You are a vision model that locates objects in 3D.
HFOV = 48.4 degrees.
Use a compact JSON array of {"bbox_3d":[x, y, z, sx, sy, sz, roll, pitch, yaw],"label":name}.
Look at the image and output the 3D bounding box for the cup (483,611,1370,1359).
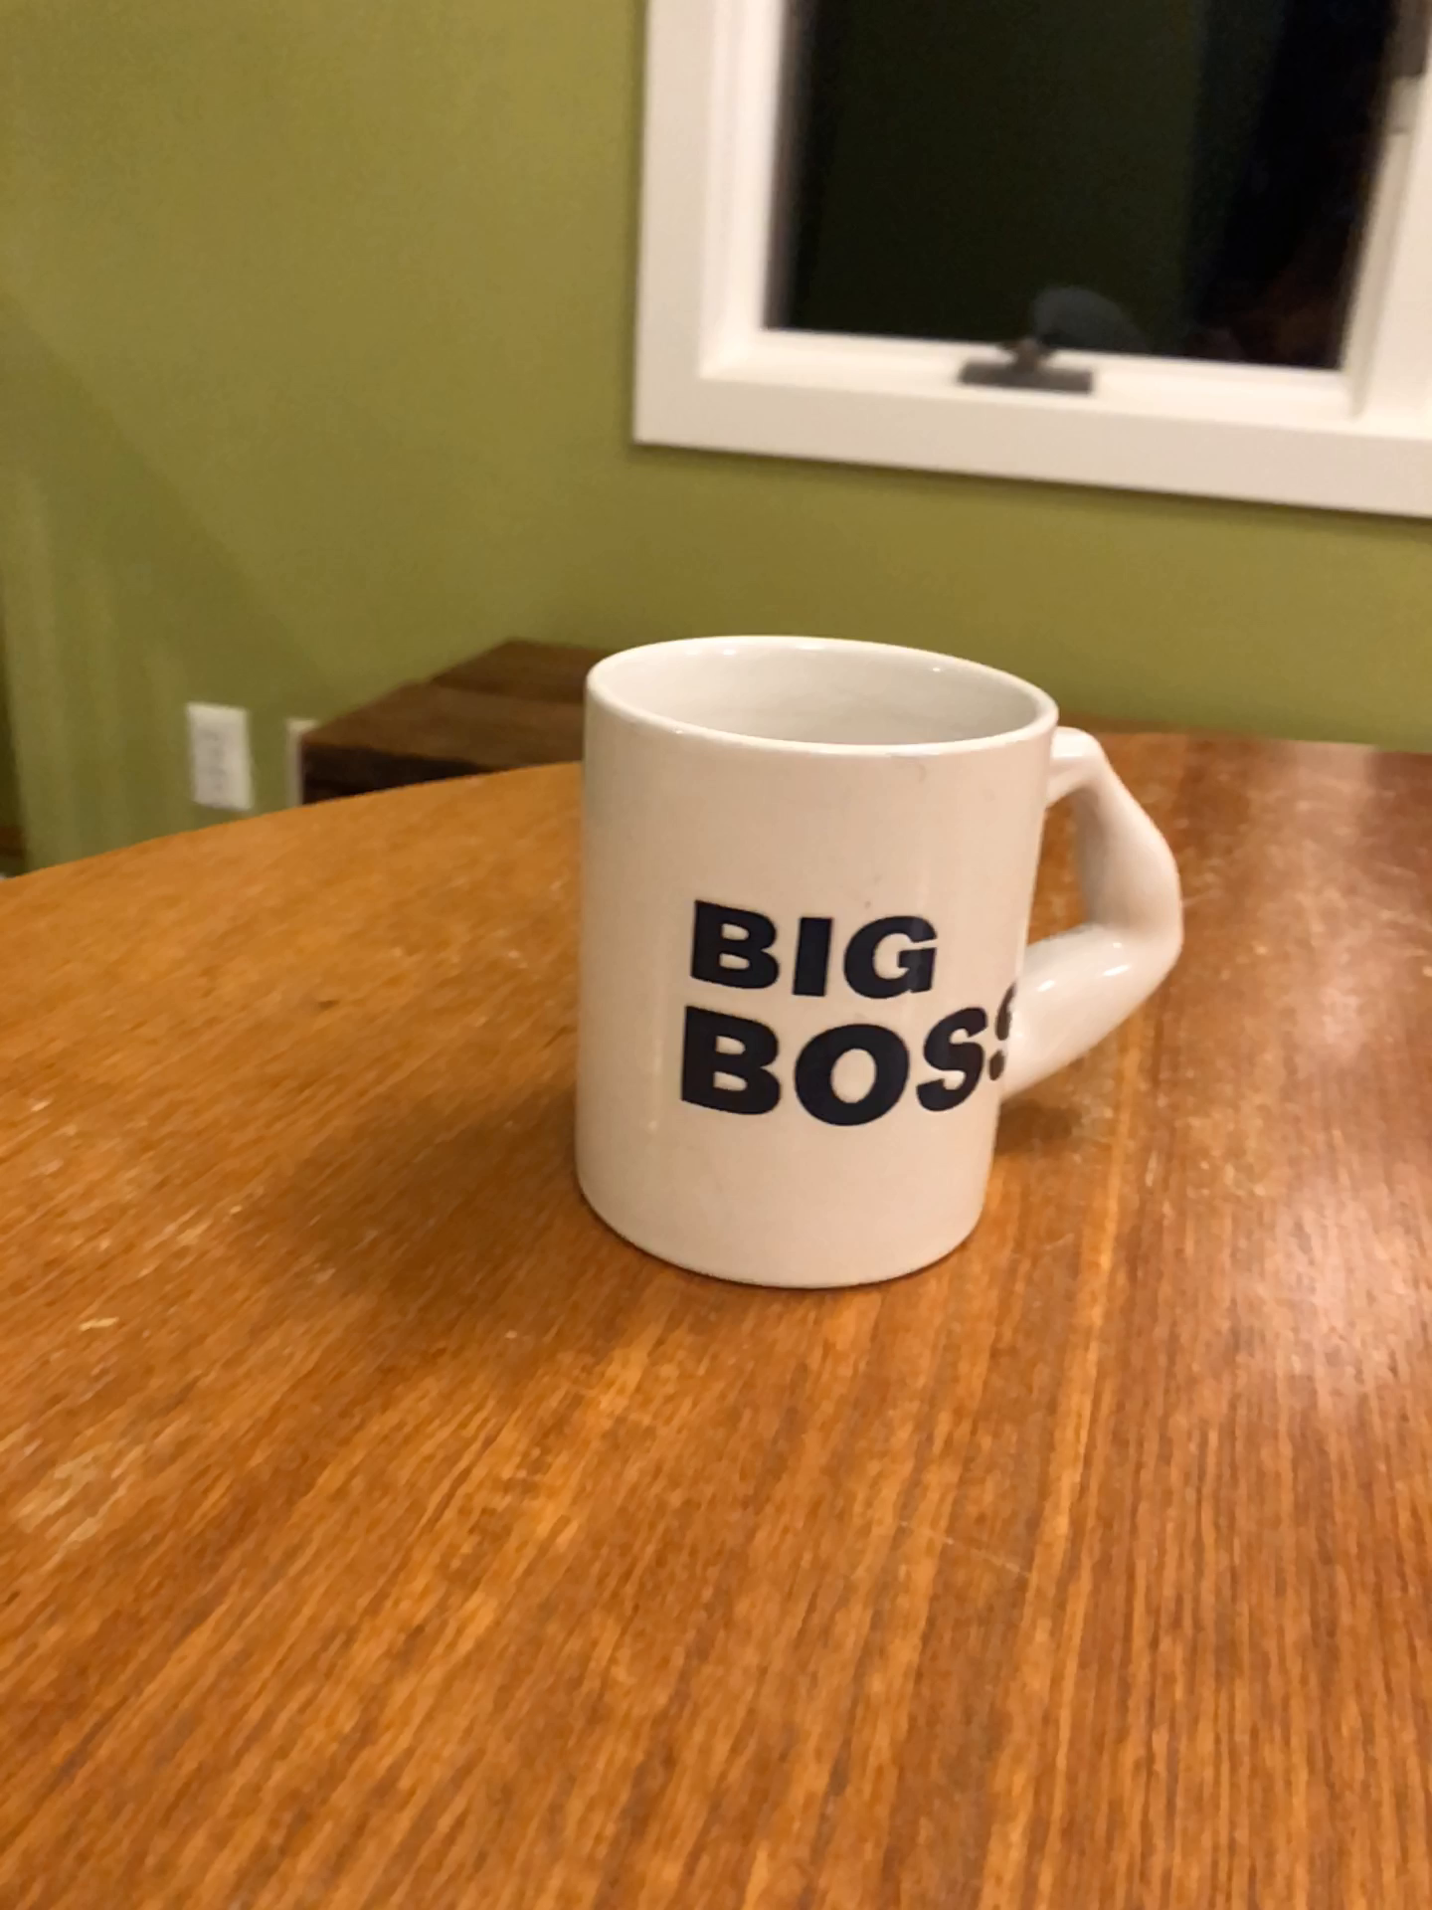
[{"bbox_3d":[0.036,-0.006,0.312,0.139,0.099,0.087,-10,26,-28],"label":"cup"}]
